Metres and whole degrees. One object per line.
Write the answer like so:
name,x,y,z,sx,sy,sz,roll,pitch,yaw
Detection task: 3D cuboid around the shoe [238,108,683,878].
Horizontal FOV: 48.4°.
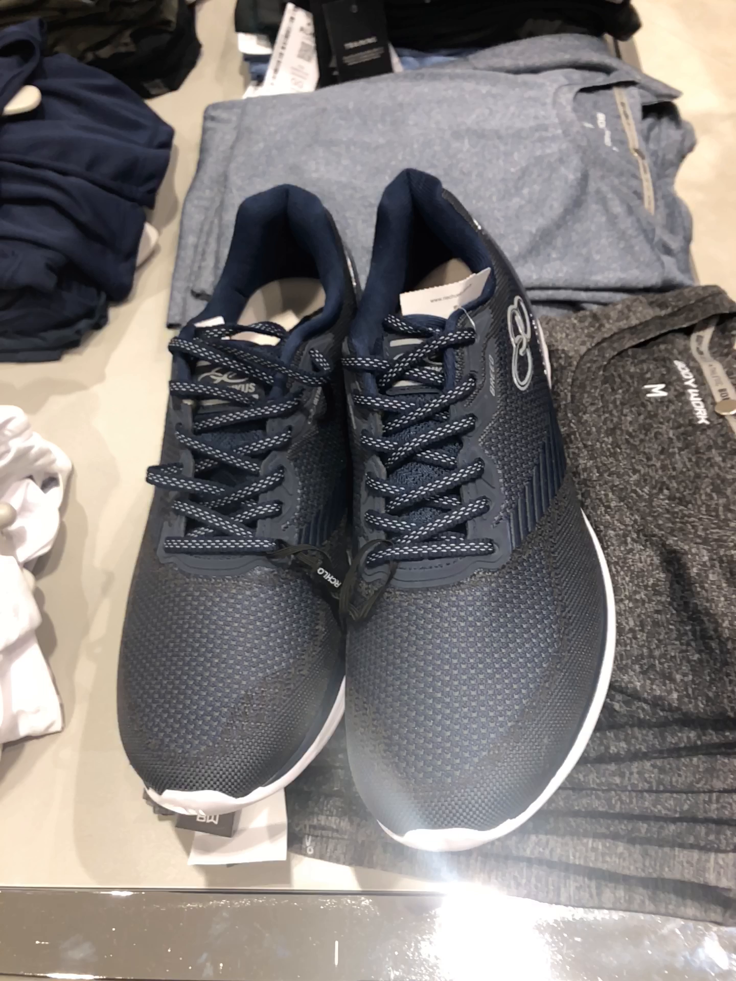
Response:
shoe,0.041,0.002,0.355,0.120,0.129,0.291,-12,59,20

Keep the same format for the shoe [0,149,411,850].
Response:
shoe,-0.055,-0.003,0.380,0.120,0.129,0.291,1,61,9
